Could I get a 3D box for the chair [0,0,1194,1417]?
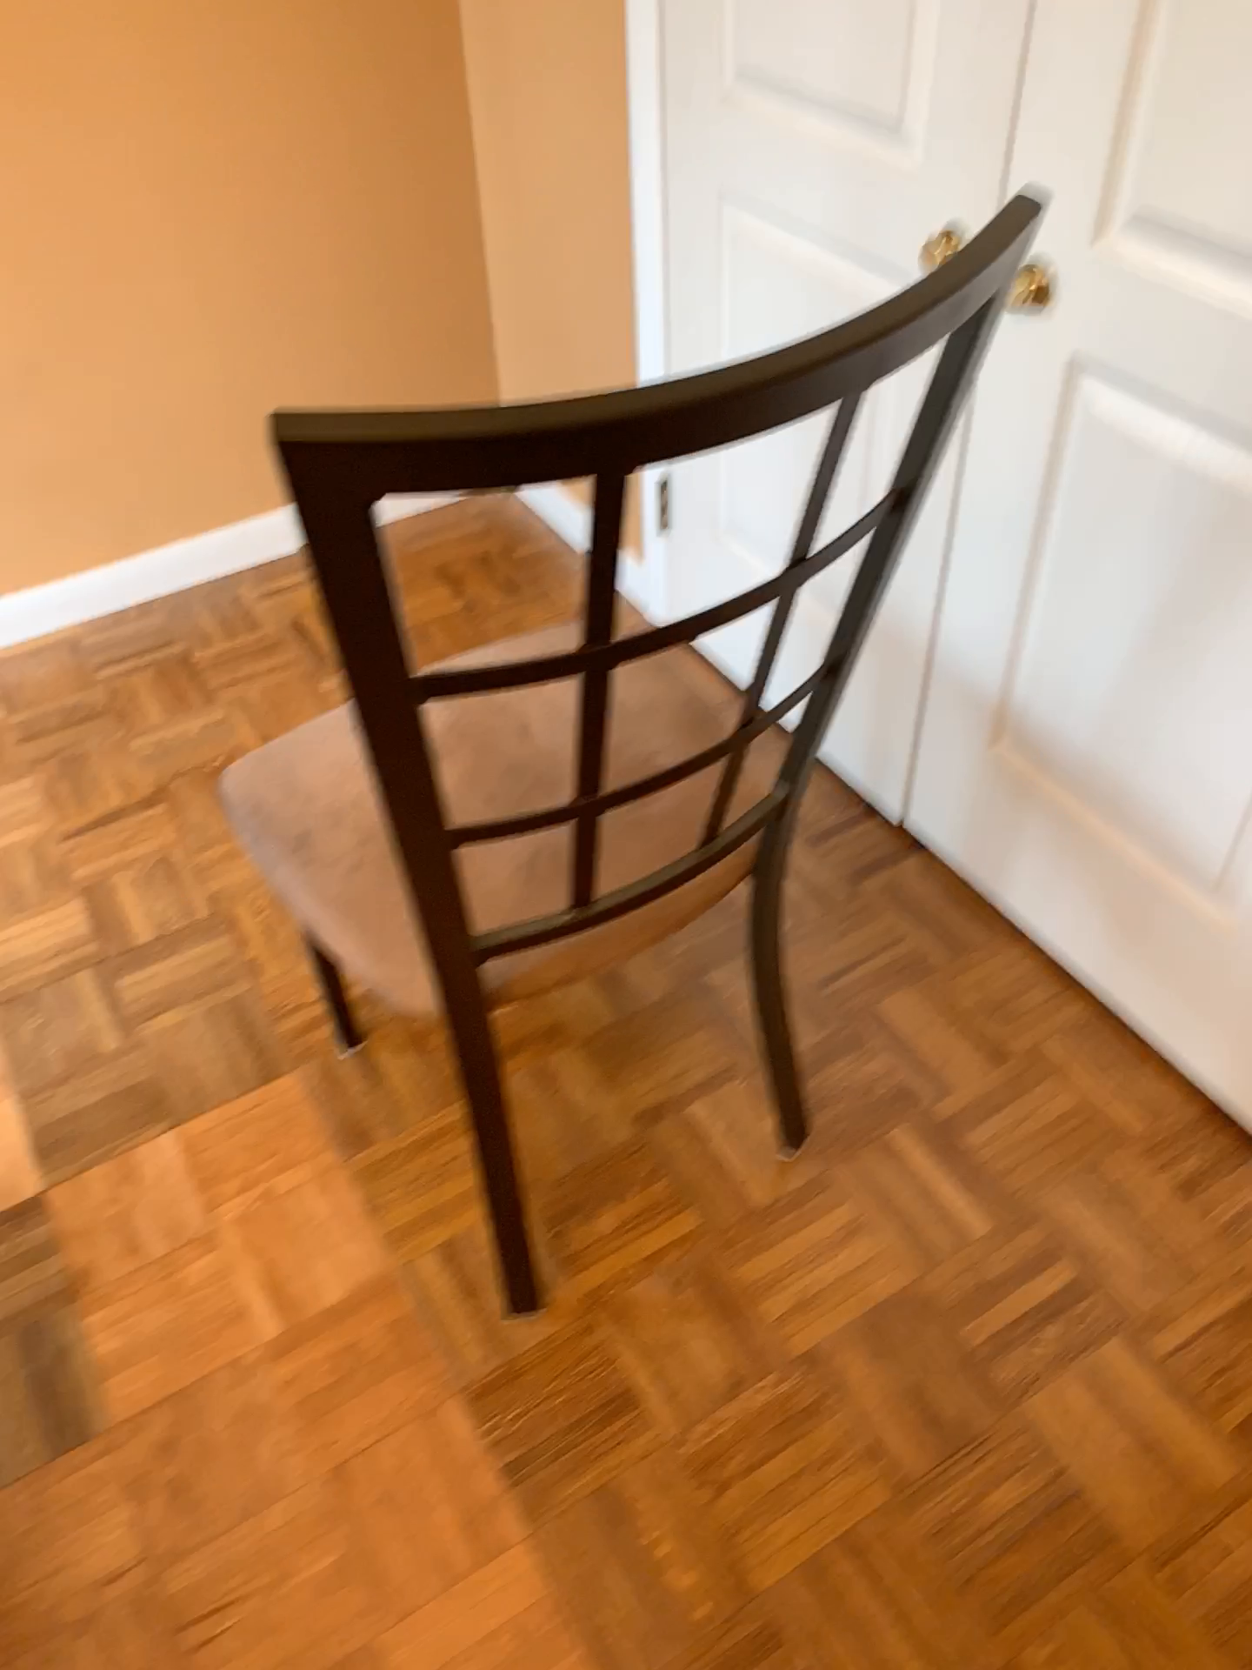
[{"bbox_3d":[-0.081,-0.088,1.107,0.511,0.985,0.622,-24,51,-21],"label":"chair"}]
